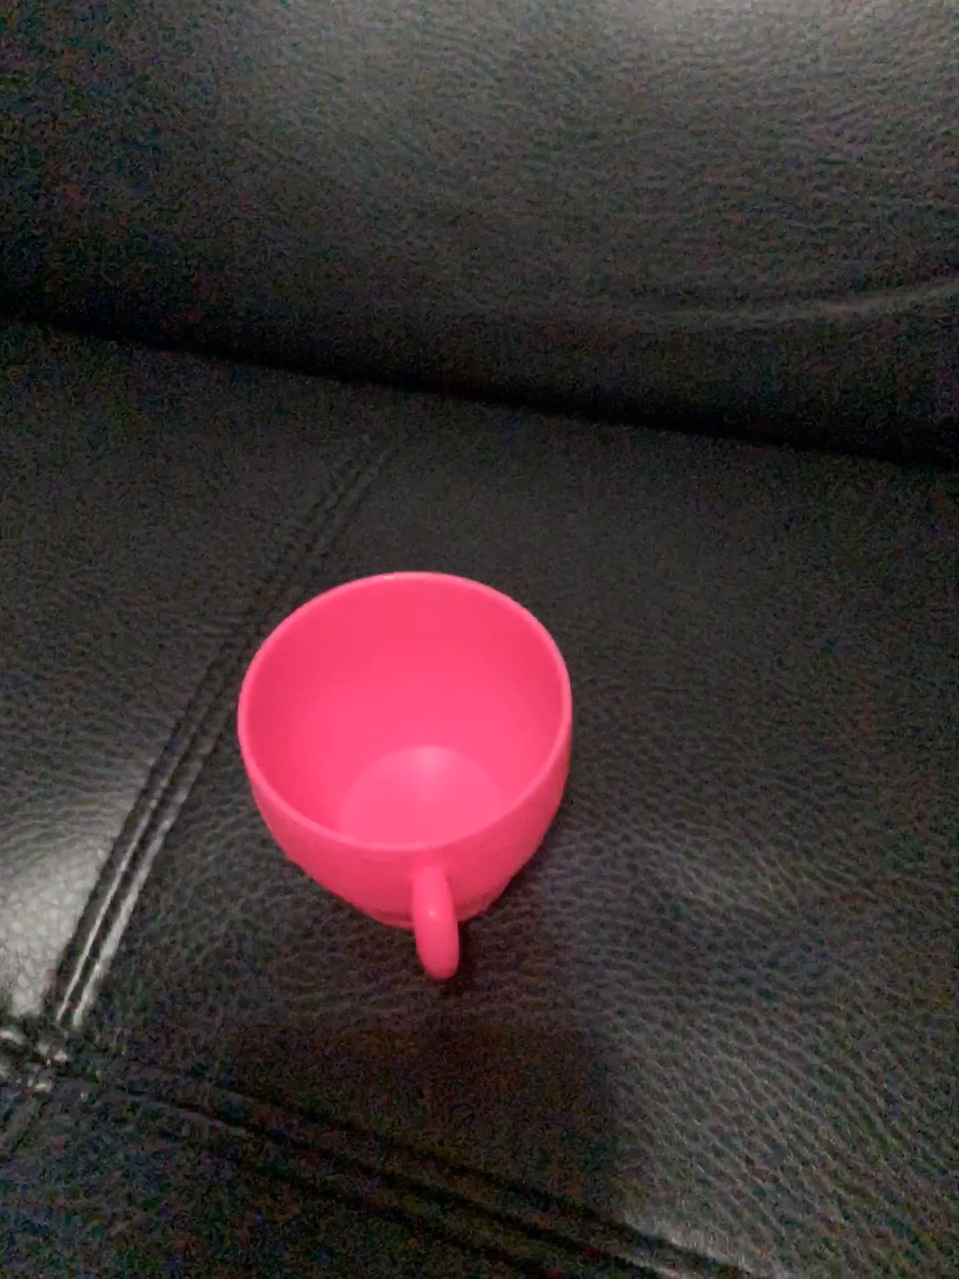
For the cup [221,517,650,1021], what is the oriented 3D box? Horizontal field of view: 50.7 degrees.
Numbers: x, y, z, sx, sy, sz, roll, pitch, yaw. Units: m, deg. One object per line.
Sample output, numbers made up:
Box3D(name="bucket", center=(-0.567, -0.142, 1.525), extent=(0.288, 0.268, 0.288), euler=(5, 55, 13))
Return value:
Box3D(name="cup", center=(-0.009, 0.021, 0.186), extent=(0.061, 0.047, 0.073), euler=(-4, 48, -3))
